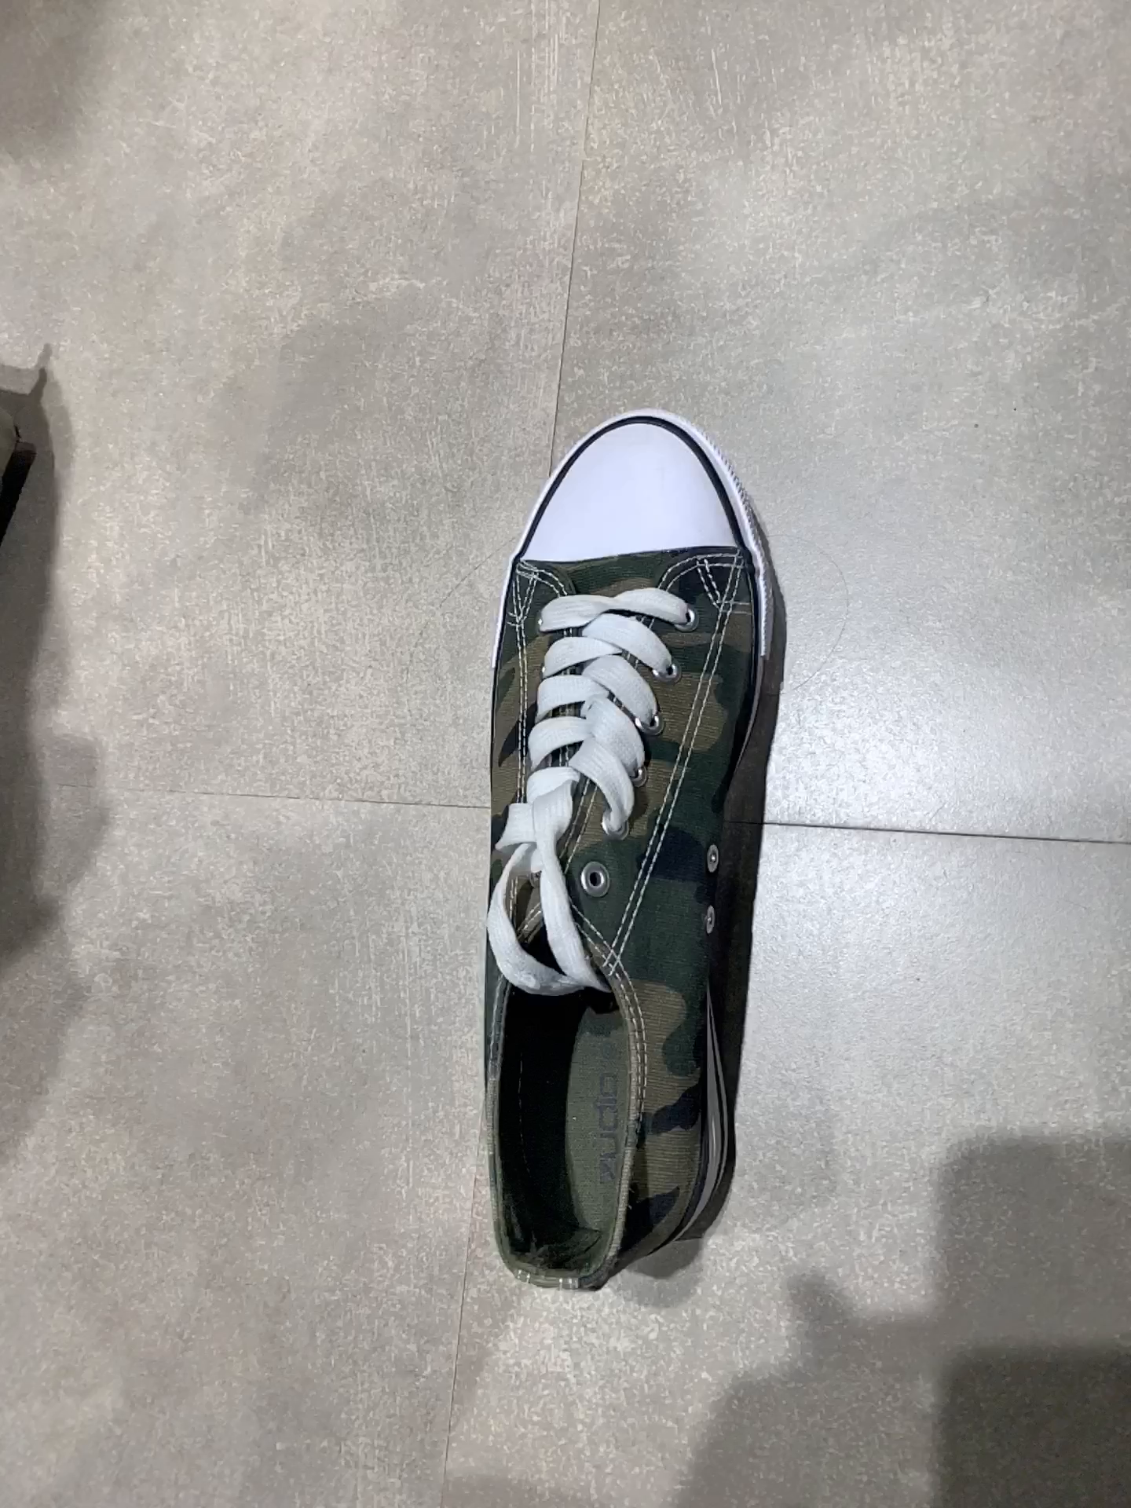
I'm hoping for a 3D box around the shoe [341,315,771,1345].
[{"bbox_3d":[0.006,0.017,0.350,0.099,0.079,0.266,-2,78,19],"label":"shoe"}]
